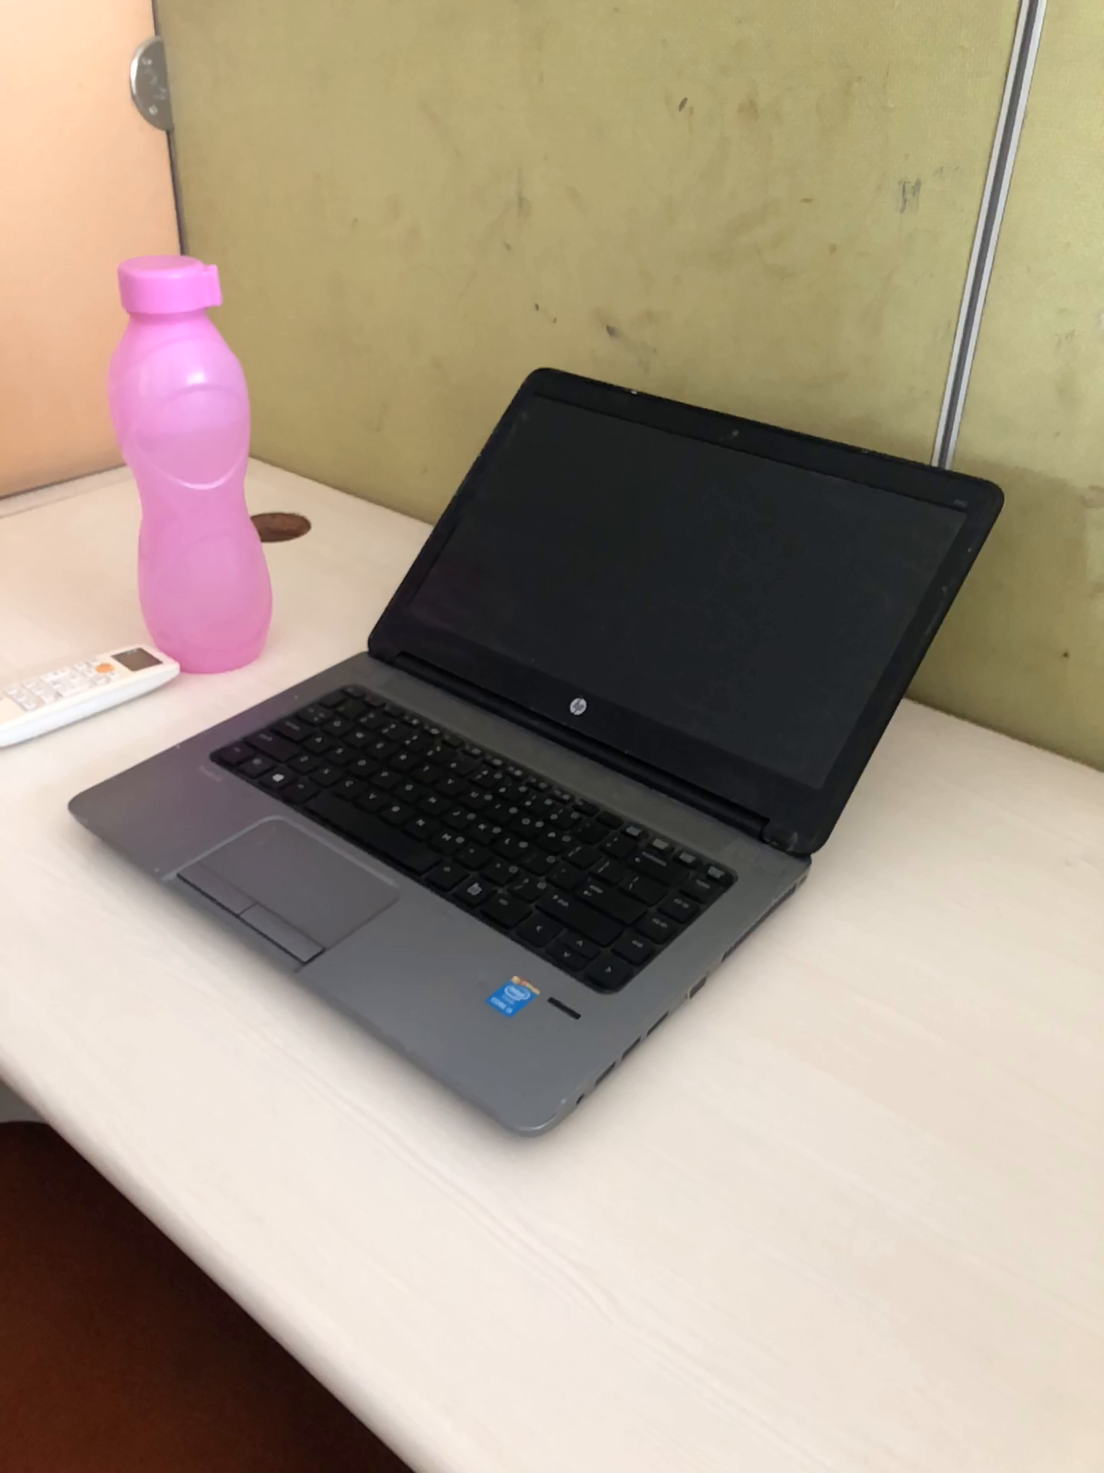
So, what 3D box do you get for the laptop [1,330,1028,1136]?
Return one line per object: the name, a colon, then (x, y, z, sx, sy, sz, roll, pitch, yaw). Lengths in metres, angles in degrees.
laptop: (-0.005, -0.059, 0.649, 0.327, 0.147, 0.408, 24, 43, 32)
